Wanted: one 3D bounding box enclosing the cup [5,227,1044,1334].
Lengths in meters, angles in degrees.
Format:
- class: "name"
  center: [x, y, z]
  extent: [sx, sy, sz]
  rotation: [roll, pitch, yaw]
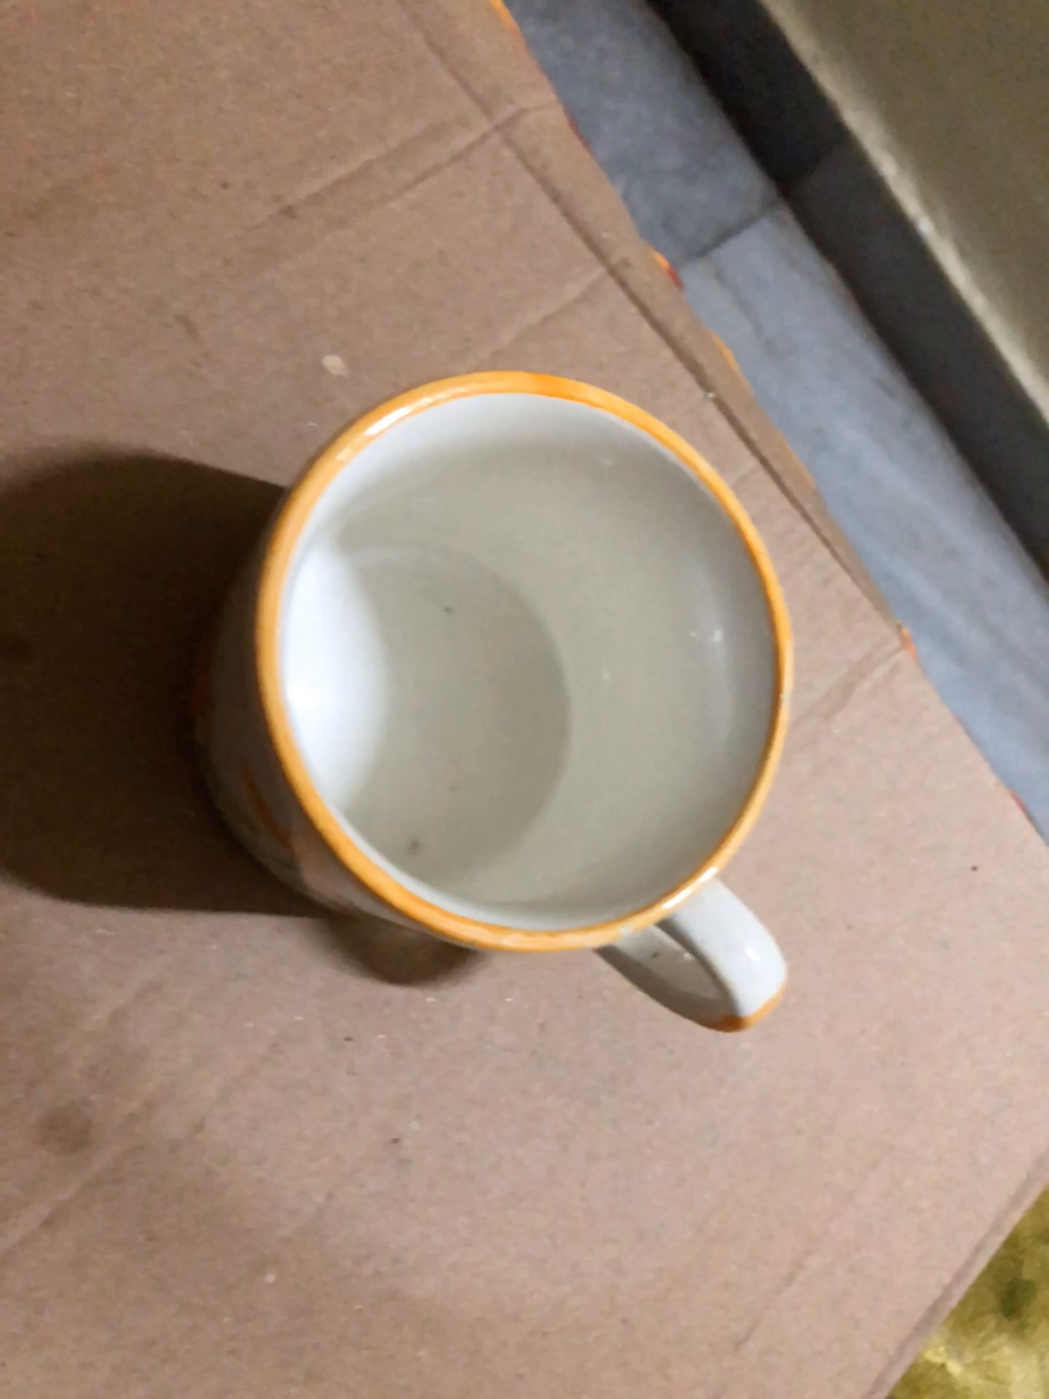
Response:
- class: "cup"
  center: [-0.003, 0.014, 0.192]
  extent: [0.120, 0.080, 0.090]
  rotation: [45, 67, -9]
